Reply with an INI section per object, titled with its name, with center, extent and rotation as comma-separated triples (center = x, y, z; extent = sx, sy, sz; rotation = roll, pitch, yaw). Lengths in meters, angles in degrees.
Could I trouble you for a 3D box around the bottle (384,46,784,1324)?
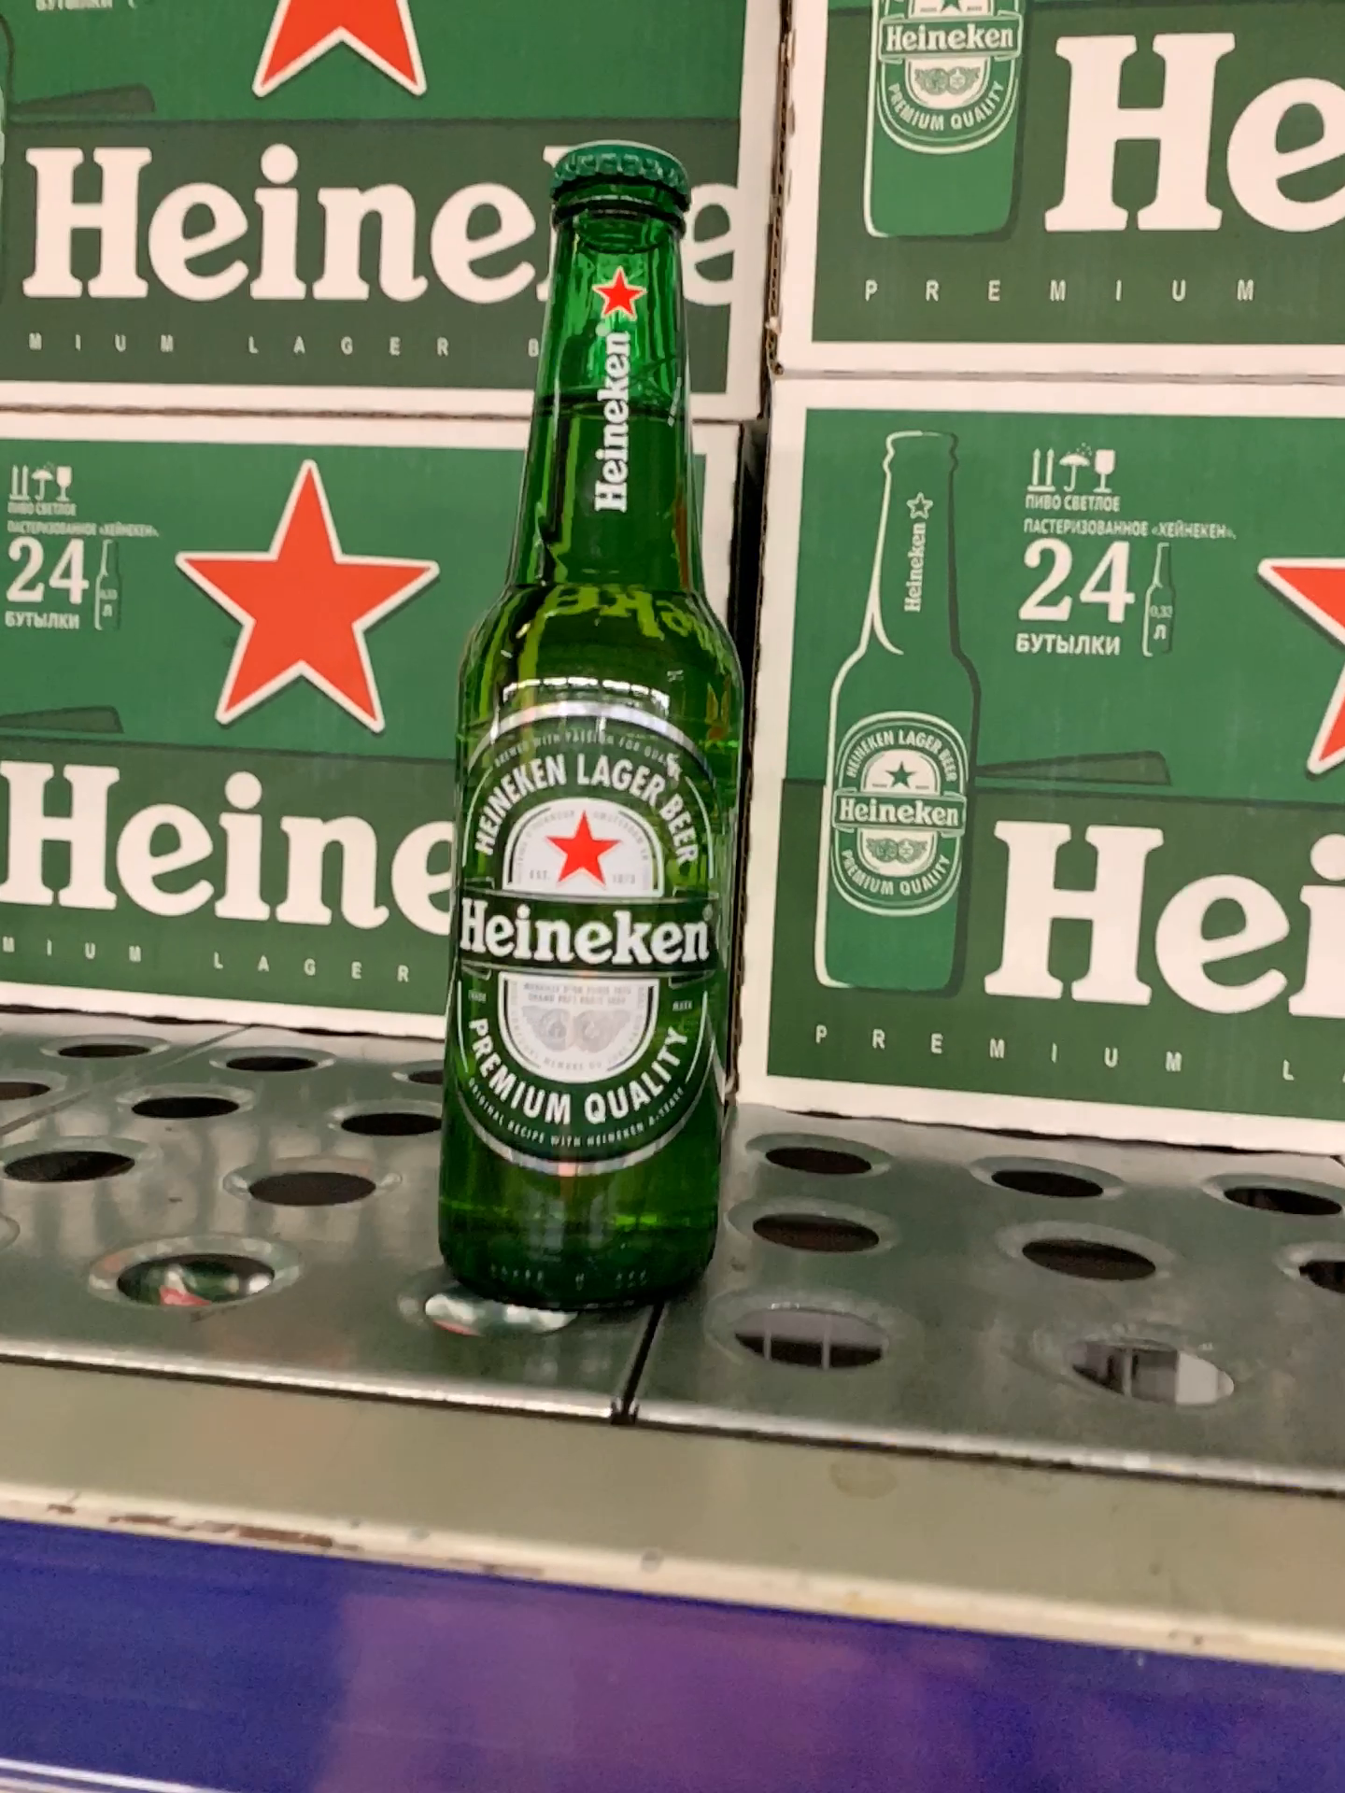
[bottle]
center = -0.015, -0.038, 0.281
extent = 0.060, 0.226, 0.060
rotation = 3, 4, 0
